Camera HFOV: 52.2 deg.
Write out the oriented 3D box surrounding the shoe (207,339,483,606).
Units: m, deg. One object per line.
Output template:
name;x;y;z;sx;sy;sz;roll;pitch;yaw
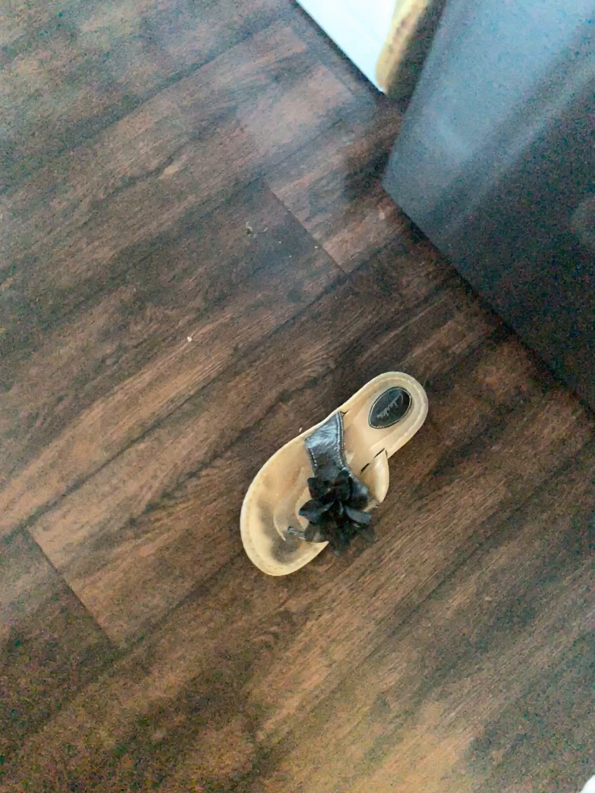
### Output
shoe;0.047;0.069;0.588;0.250;0.050;0.110;-40;83;-12
